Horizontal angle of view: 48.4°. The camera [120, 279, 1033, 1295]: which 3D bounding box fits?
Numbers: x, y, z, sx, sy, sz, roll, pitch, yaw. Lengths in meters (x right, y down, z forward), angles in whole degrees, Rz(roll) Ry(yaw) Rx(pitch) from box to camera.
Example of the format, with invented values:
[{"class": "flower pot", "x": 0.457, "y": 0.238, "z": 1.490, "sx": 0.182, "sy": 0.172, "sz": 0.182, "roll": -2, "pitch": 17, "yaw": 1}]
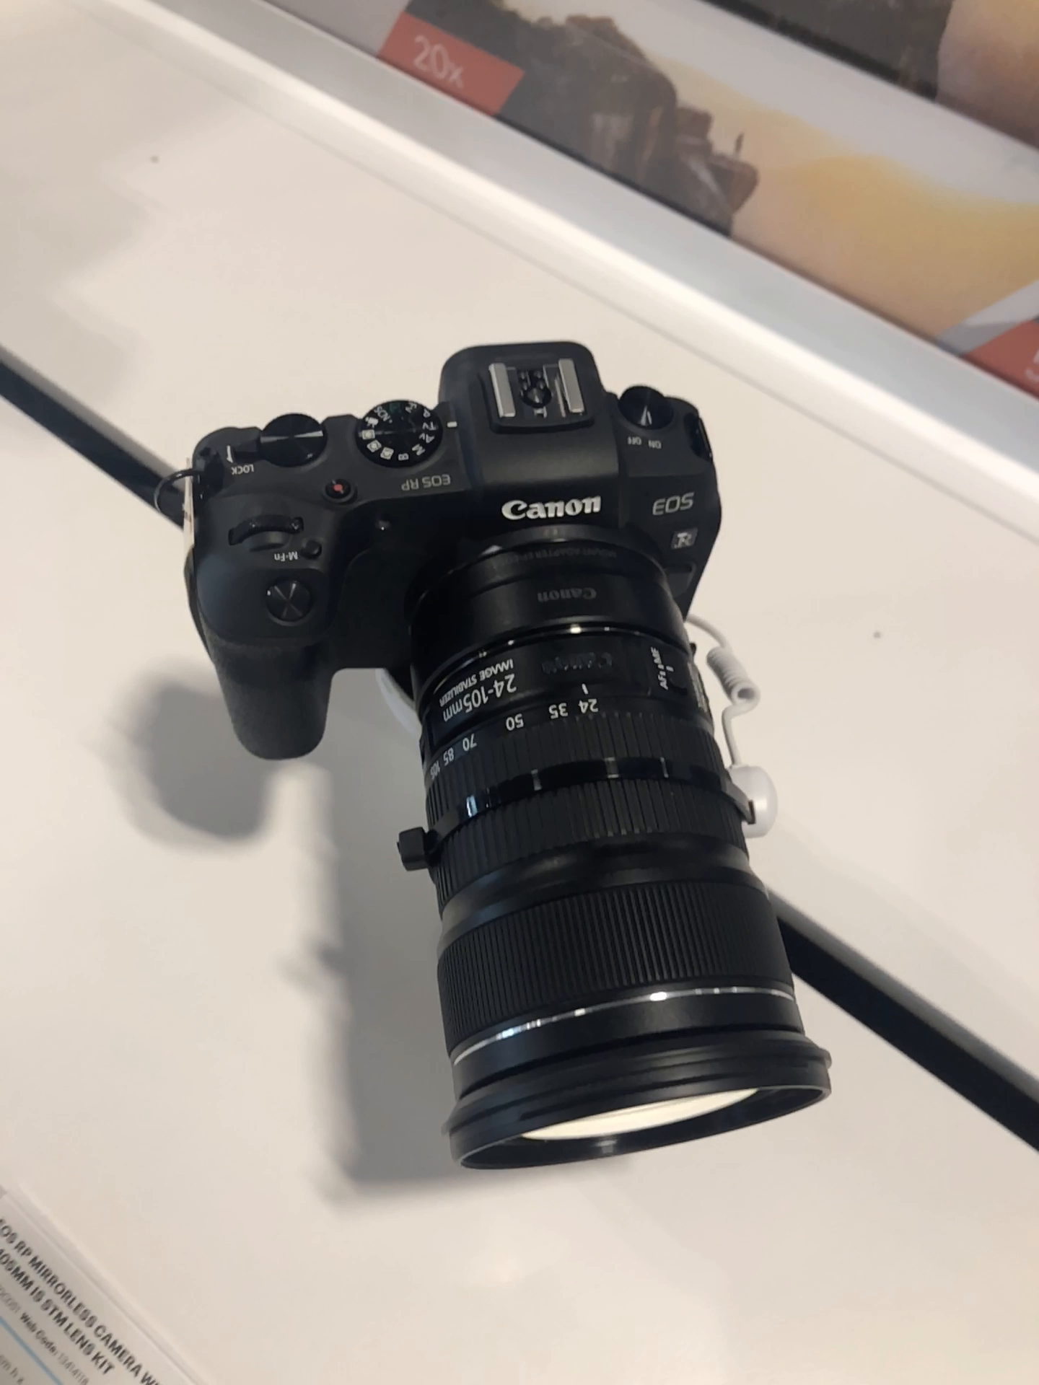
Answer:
[{"class": "camera", "x": -0.007, "y": 0.011, "z": 0.261, "sx": 0.136, "sy": 0.090, "sz": 0.191, "roll": -8, "pitch": 59, "yaw": -11}]
